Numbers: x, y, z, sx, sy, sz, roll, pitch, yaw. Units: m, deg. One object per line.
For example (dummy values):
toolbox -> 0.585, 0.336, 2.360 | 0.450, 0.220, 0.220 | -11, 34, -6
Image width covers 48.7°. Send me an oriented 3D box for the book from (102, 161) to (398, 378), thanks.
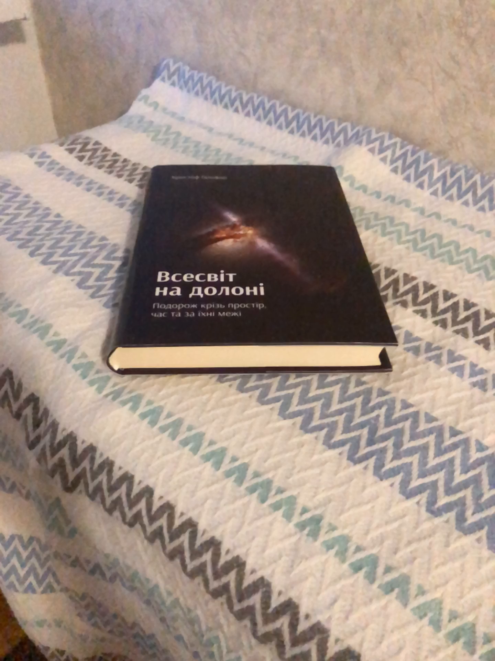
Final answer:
book -> -0.002, -0.059, 0.393 | 0.161, 0.030, 0.226 | 0, 41, -3
